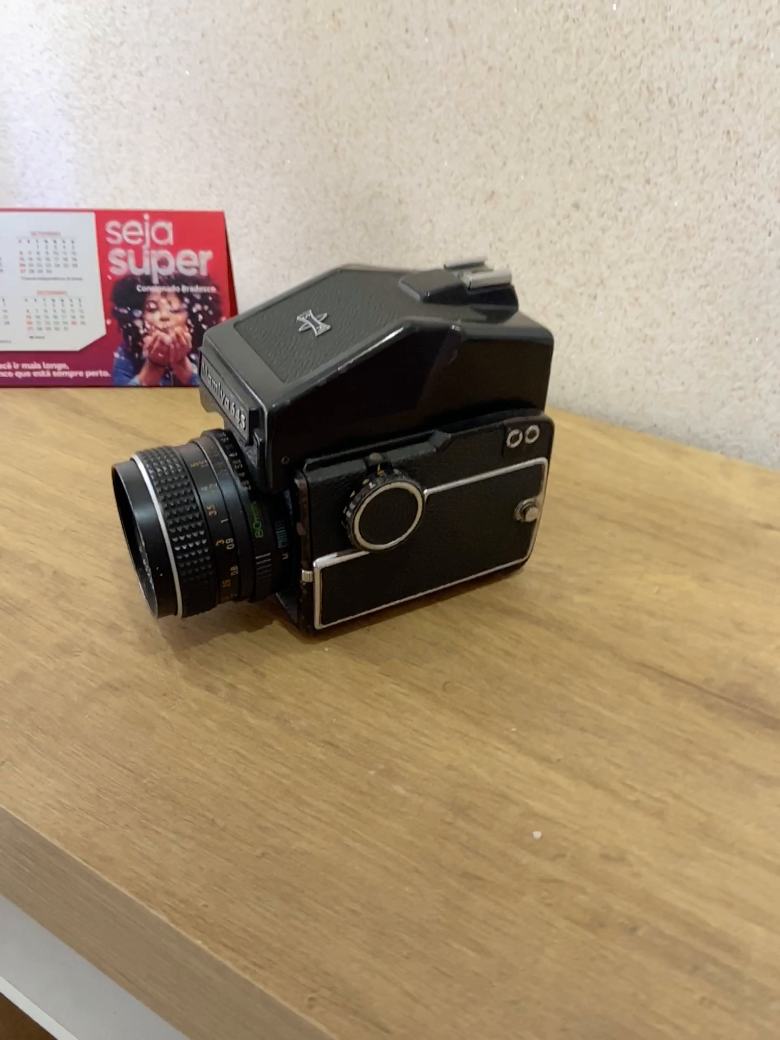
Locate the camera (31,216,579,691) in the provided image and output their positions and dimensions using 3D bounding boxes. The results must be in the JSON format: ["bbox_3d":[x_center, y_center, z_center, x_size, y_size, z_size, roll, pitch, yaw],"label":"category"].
[{"bbox_3d":[-0.037,-0.040,0.321,0.160,0.109,0.131,-15,38,-22],"label":"camera"}]
